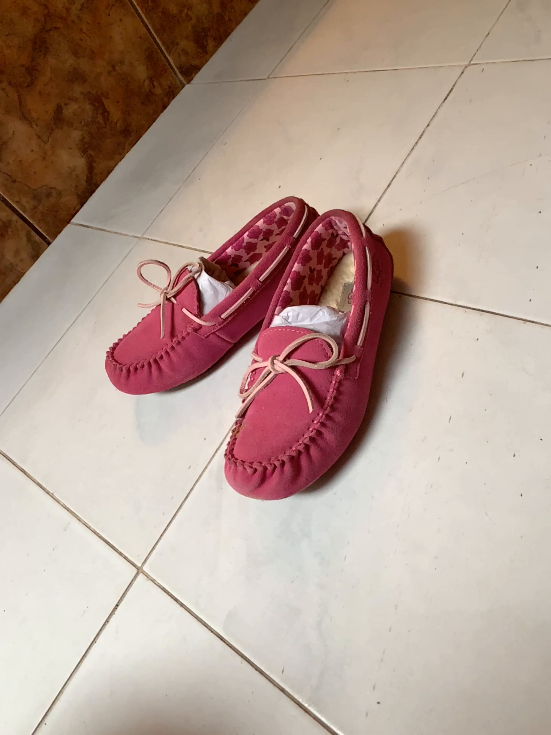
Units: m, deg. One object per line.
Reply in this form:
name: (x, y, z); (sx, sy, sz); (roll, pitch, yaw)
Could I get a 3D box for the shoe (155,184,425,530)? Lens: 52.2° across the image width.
shoe: (0.022, -0.017, 0.406); (0.090, 0.083, 0.227); (8, 62, 35)

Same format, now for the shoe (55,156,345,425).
shoe: (-0.068, -0.066, 0.492); (0.227, 0.083, 0.090); (-37, 47, 2)
